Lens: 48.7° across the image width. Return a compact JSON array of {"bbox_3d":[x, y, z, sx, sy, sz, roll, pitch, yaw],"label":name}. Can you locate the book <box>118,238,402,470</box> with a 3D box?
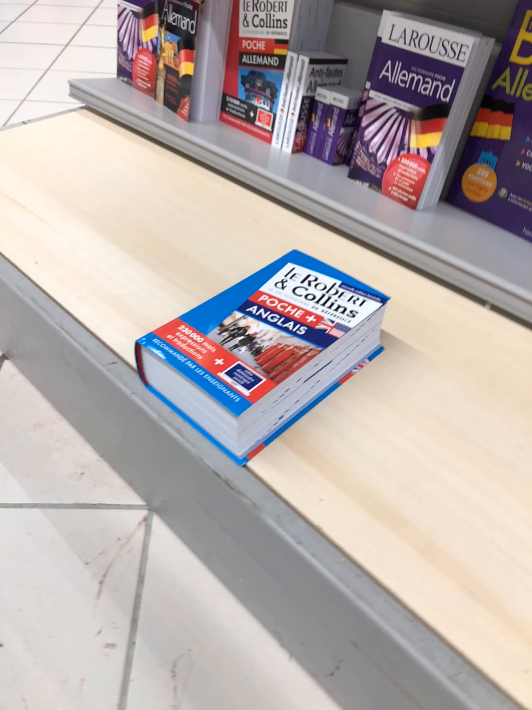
[{"bbox_3d":[-0.001,-0.014,0.471,0.128,0.051,0.184,33,51,30],"label":"book"}]
